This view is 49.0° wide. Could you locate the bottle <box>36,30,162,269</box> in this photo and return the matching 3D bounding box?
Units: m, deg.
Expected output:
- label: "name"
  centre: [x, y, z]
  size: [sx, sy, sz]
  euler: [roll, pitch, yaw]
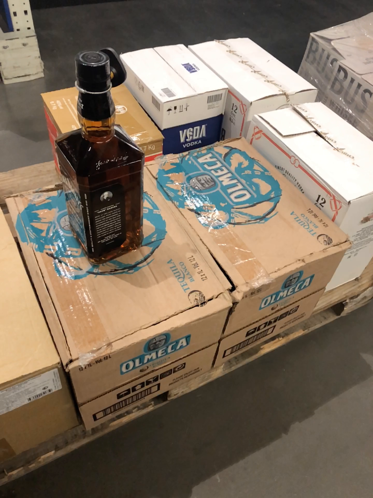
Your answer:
- label: "bottle"
  centre: [-0.117, -0.126, 0.592]
  size: [0.110, 0.308, 0.110]
  euler: [3, 48, -4]
